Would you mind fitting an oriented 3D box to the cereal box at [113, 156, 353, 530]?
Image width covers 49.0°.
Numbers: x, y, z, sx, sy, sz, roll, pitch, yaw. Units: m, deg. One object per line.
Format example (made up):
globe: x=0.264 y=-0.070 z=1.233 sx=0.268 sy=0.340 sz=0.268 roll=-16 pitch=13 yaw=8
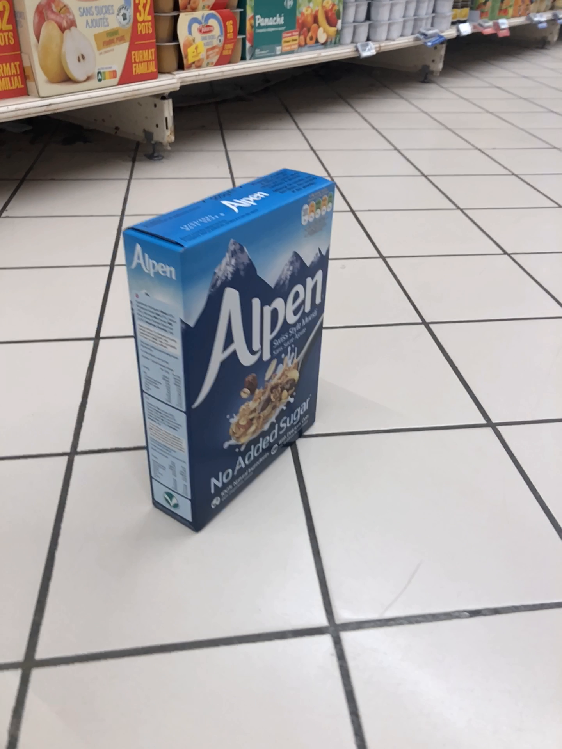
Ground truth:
cereal box: x=-0.026 y=-0.028 z=0.477 sx=0.060 sy=0.229 sz=0.181 roll=23 pitch=39 yaw=28
